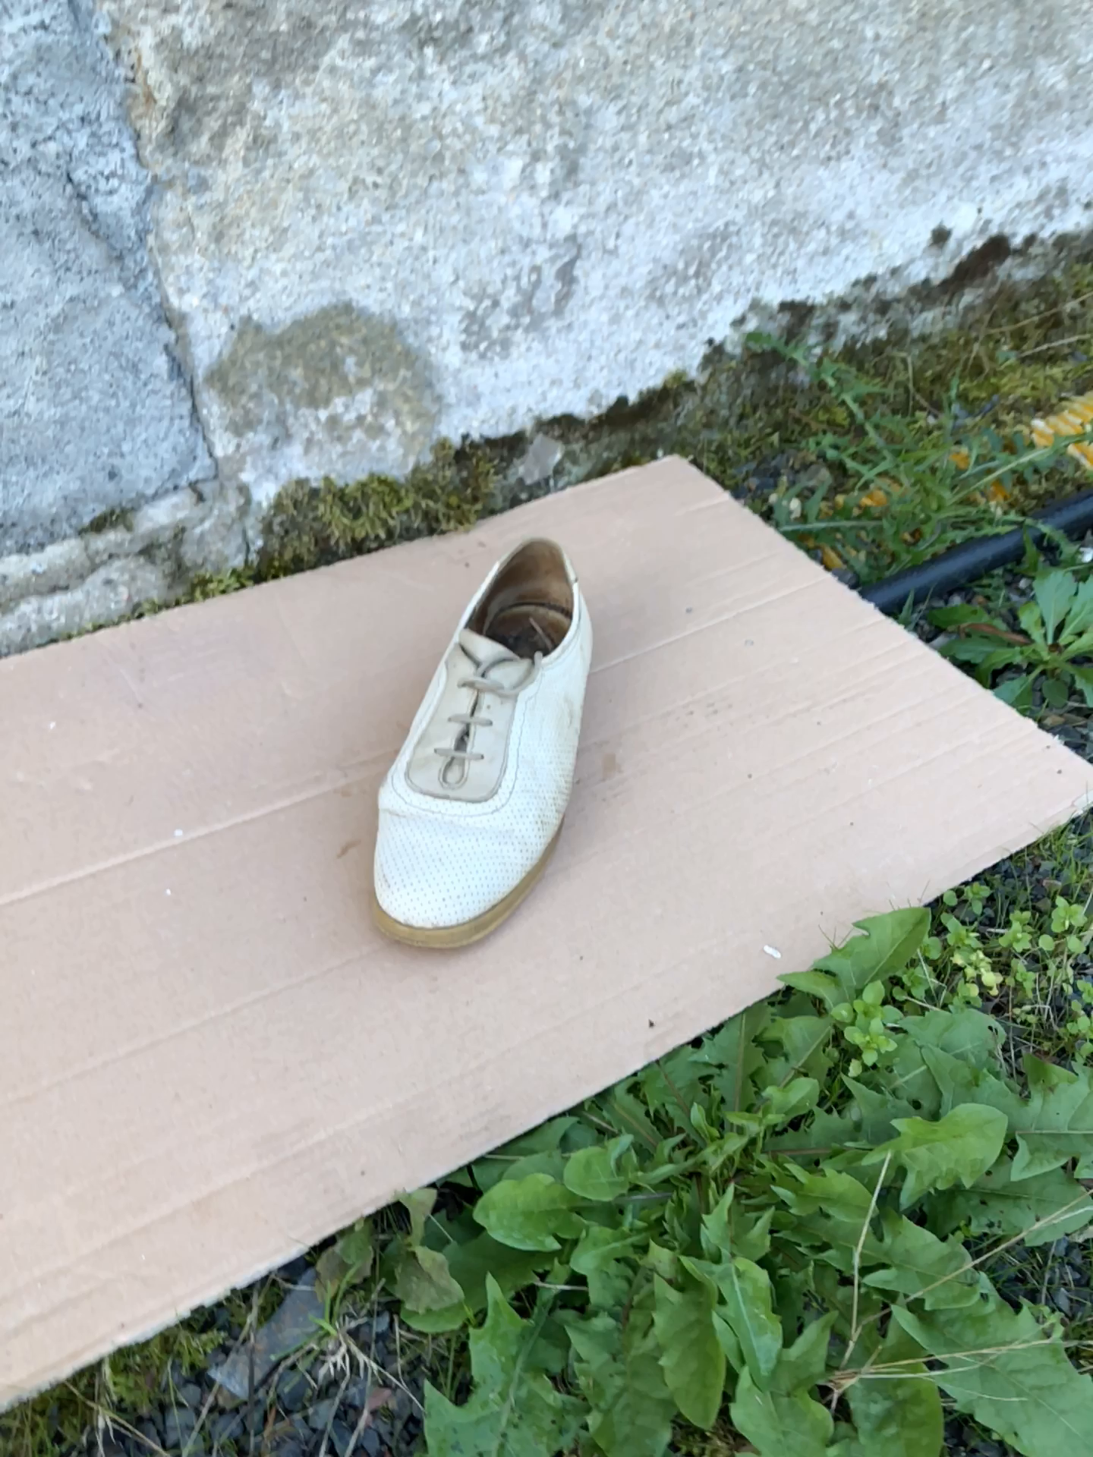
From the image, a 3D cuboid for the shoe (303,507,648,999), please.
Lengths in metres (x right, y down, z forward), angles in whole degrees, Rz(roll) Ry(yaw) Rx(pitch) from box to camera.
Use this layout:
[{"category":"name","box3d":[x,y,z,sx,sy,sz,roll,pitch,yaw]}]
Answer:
[{"category":"shoe","box3d":[-0.021,-0.002,0.628,0.090,0.090,0.262,8,45,15]}]
